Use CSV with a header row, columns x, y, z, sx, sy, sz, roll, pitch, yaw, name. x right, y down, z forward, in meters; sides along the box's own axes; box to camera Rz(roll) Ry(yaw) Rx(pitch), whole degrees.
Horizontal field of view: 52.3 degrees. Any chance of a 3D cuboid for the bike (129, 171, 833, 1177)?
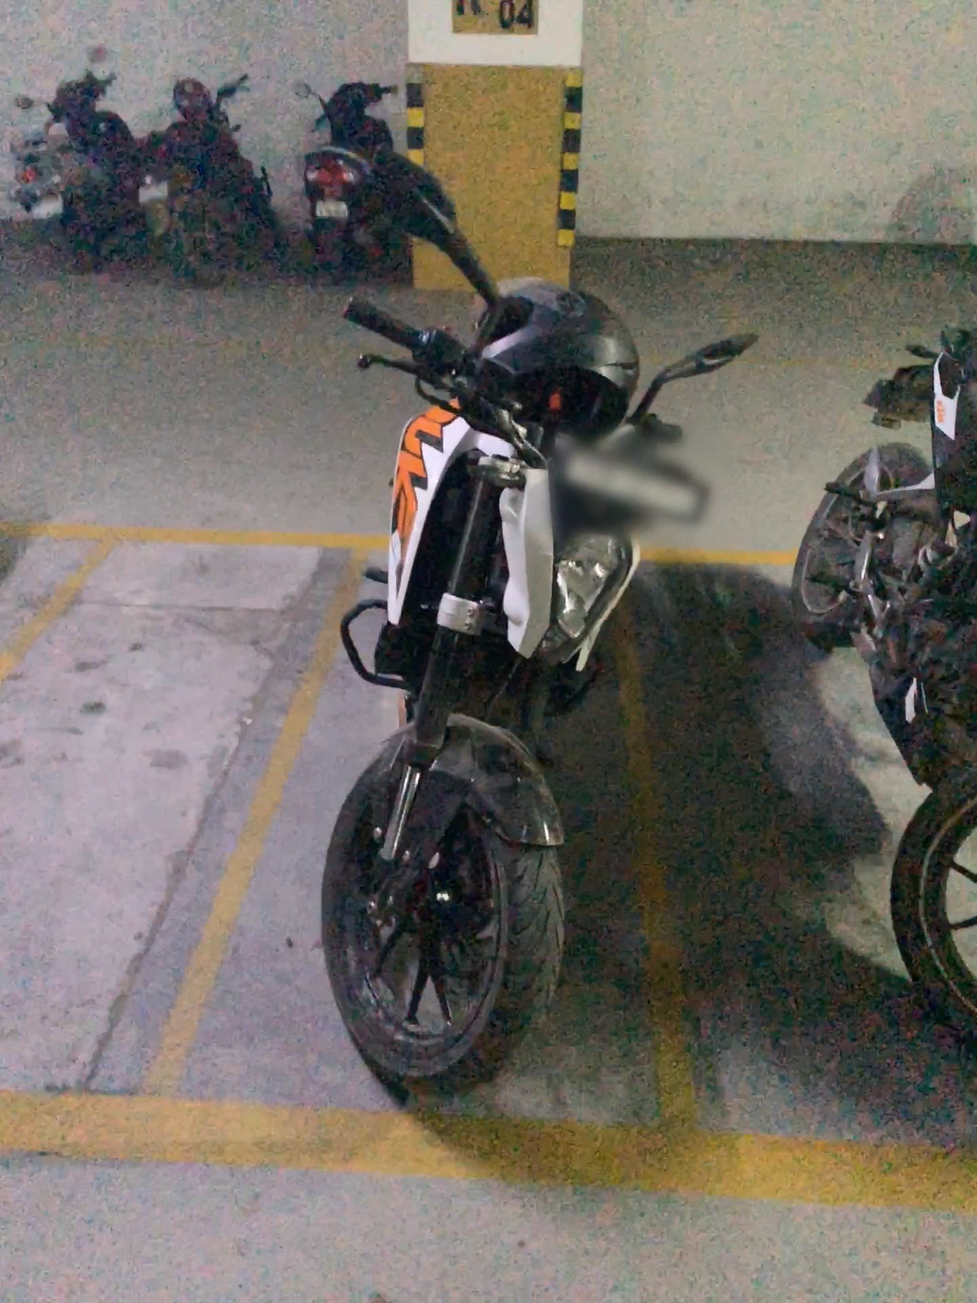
x,y,z,sx,sy,sz,roll,pitch,yaw,name
0.024,-0.175,2.202,0.803,1.182,1.922,2,36,1,bike
